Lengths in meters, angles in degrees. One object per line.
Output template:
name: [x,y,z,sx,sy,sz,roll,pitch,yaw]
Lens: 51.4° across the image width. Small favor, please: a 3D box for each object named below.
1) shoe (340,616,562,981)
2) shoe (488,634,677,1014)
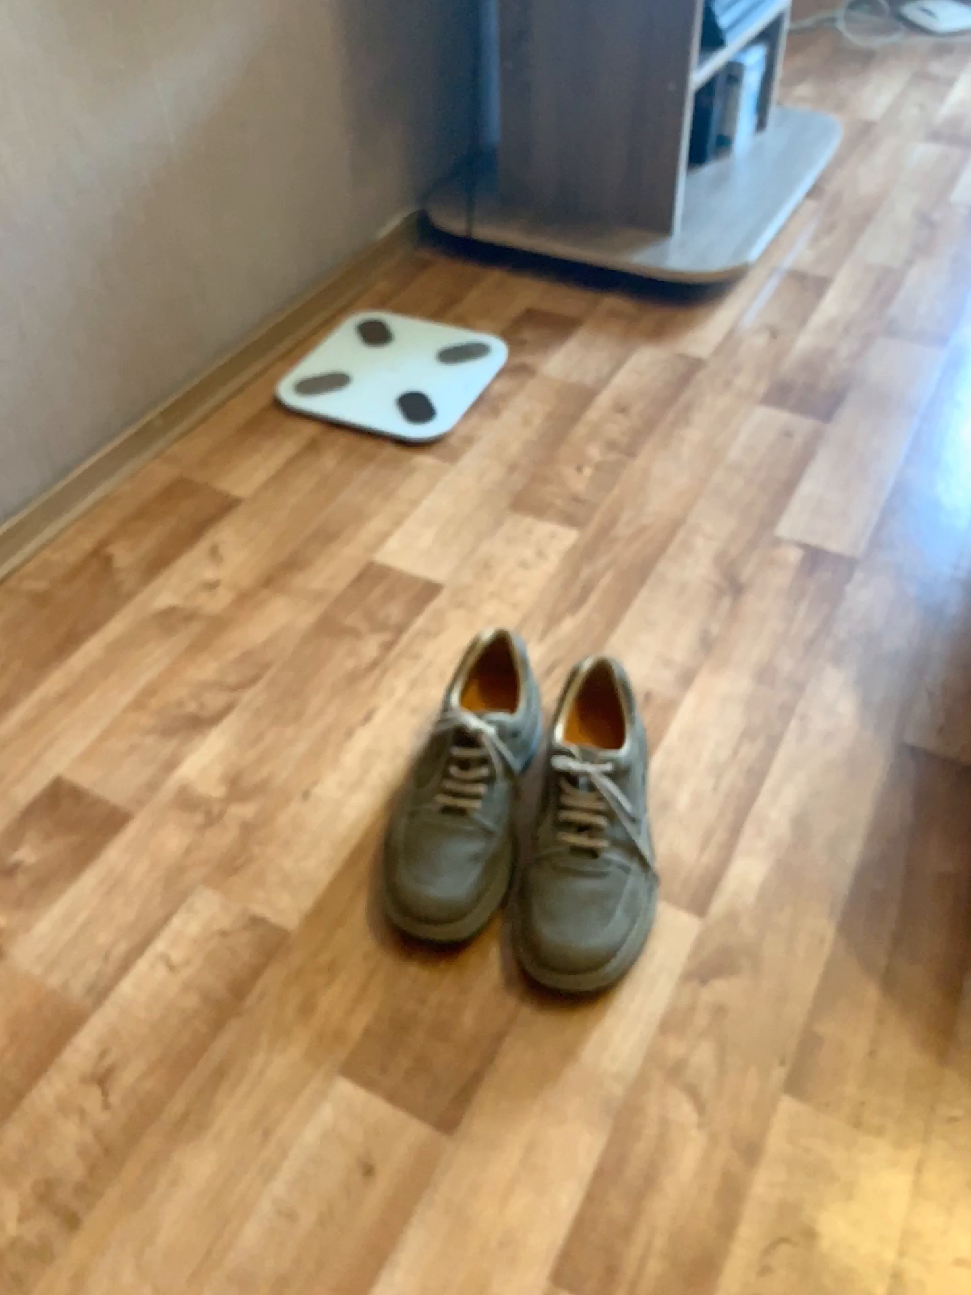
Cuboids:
shoe: [-0.017,0.122,0.898,0.120,0.119,0.291,8,47,11]
shoe: [0.088,0.136,0.850,0.120,0.110,0.291,6,46,9]
